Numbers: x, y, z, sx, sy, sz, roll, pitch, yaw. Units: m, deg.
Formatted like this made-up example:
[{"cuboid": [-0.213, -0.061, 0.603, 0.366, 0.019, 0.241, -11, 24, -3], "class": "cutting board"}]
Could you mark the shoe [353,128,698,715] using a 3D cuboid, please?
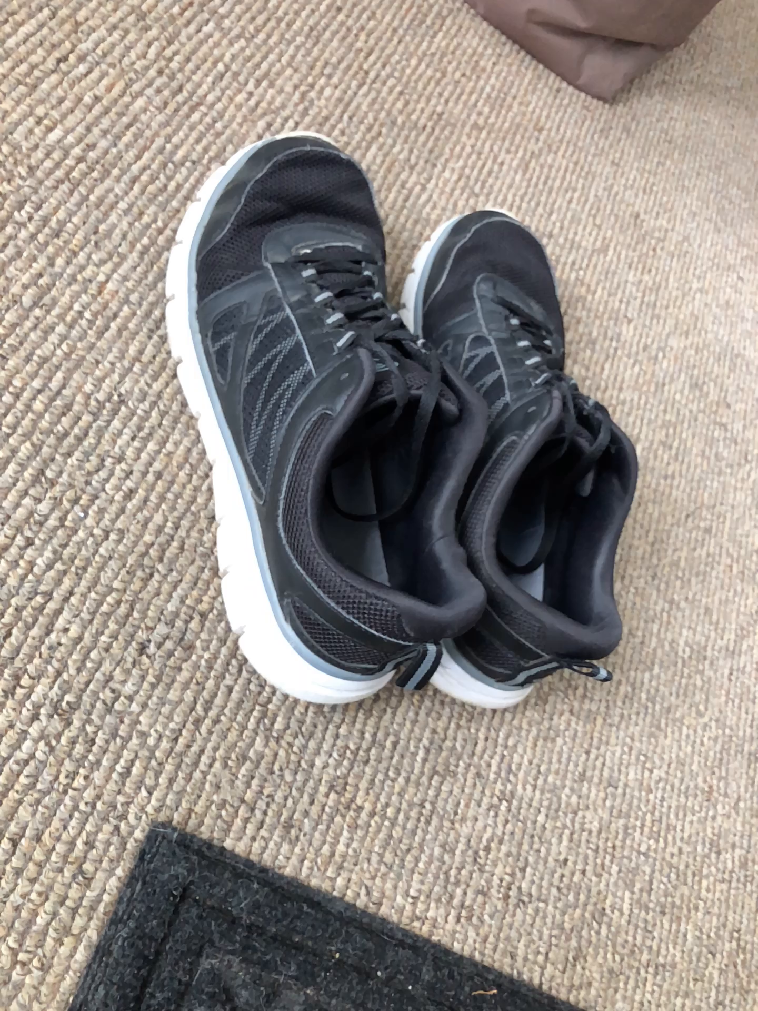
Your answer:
[{"cuboid": [0.071, -0.039, 0.457, 0.120, 0.110, 0.276, 15, 63, -30], "class": "shoe"}]

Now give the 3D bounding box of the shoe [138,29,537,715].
[{"cuboid": [-0.030, -0.055, 0.391, 0.119, 0.100, 0.275, 4, 70, -34], "class": "shoe"}]
